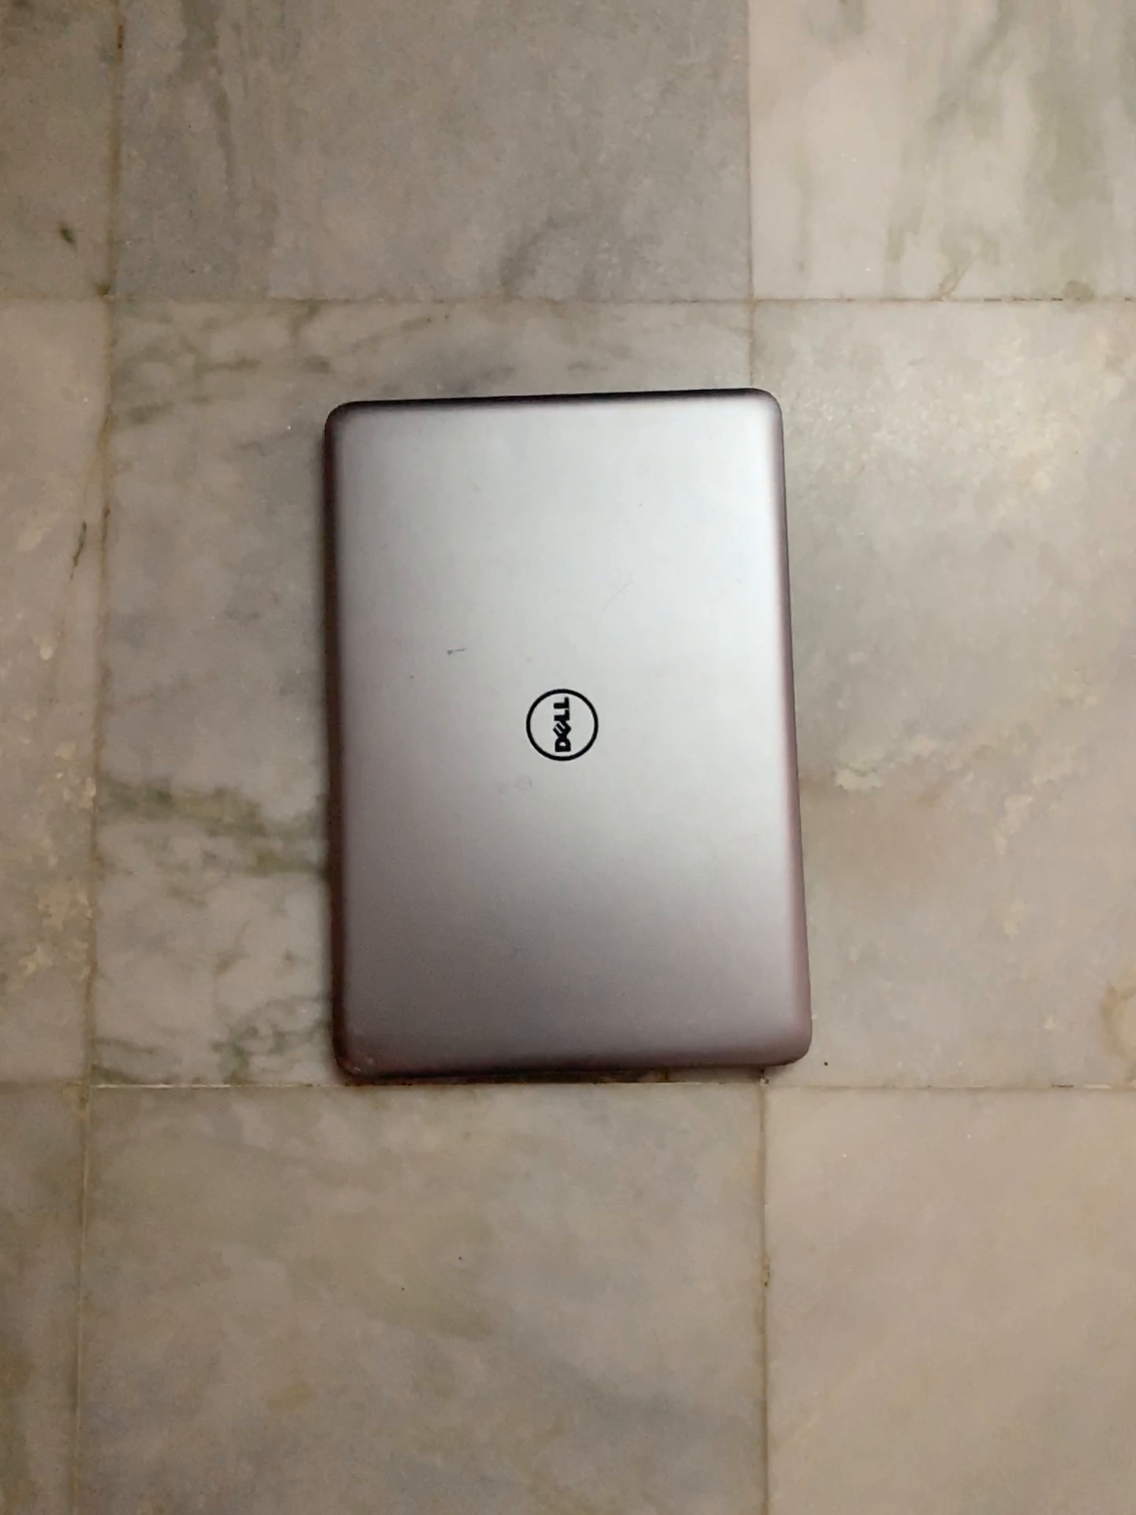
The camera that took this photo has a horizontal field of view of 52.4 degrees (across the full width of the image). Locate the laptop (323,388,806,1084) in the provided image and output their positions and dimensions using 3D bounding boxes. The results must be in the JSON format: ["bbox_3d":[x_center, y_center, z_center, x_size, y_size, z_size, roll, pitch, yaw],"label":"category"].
[{"bbox_3d":[-0.003,-0.014,0.608,0.234,0.001,0.351,-4,88,-1],"label":"laptop"}]
